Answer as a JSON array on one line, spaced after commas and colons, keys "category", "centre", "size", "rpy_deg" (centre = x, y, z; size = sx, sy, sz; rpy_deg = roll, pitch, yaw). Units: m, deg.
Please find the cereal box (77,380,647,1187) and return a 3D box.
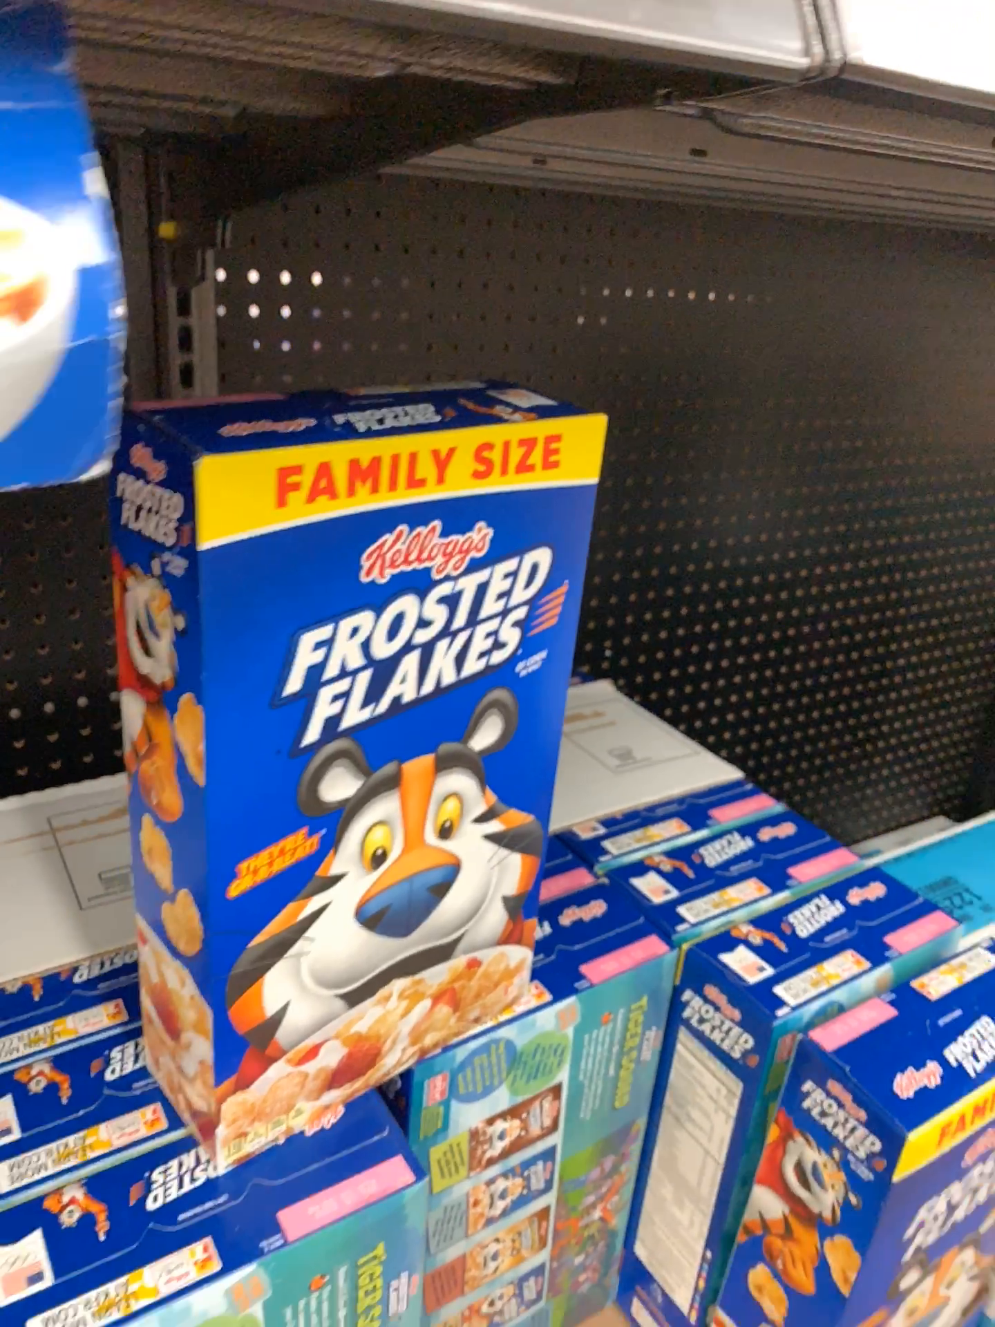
[{"category": "cereal box", "centre": [-0.059, 0.046, 0.469], "size": [0.210, 0.318, 0.080], "rpy_deg": [-15, 32, -37]}]
